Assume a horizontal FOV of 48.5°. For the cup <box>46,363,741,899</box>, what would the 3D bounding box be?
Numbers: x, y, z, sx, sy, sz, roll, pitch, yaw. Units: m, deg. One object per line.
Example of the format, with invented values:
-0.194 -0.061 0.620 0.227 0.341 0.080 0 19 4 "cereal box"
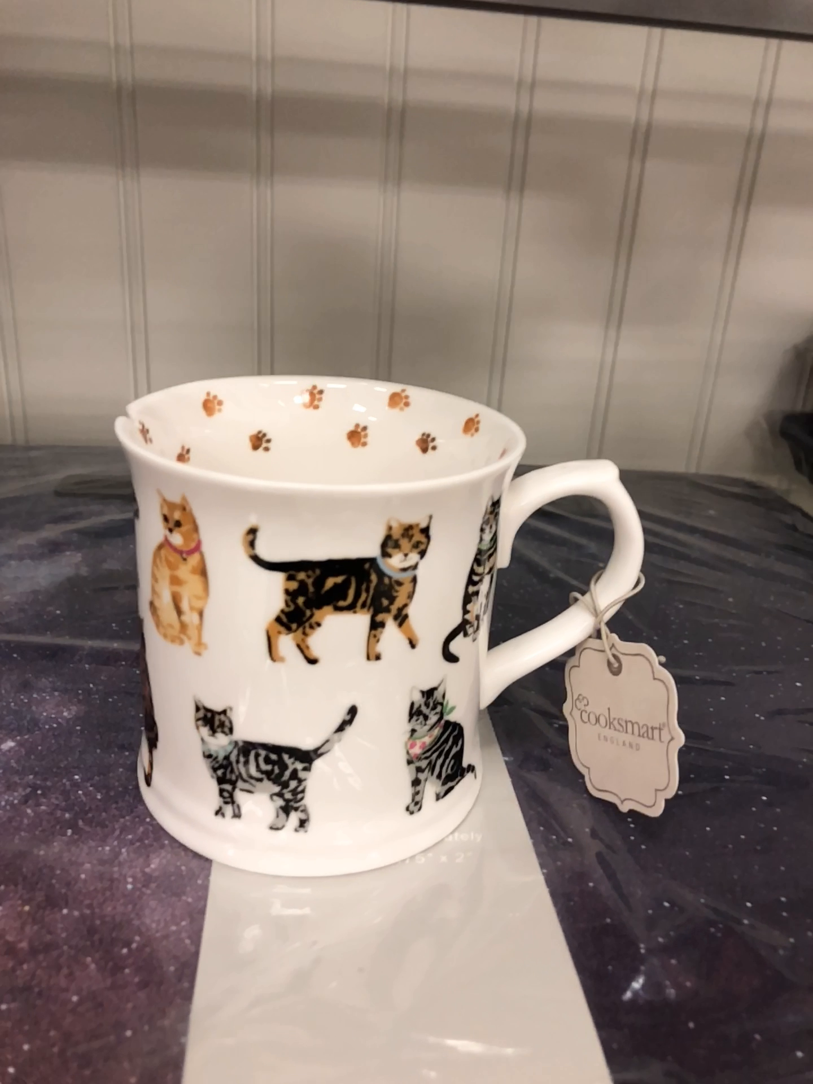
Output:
-0.008 0.015 0.239 0.137 0.099 0.096 0 24 -9 "cup"
